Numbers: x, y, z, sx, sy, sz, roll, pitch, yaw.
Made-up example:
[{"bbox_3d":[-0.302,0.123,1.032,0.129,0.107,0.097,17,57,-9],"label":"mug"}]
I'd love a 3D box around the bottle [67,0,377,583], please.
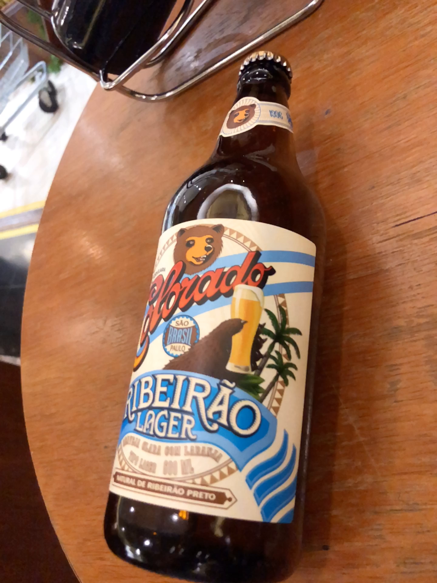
[{"bbox_3d":[0.013,-0.019,0.224,0.090,0.060,0.260,-7,66,39],"label":"bottle"}]
